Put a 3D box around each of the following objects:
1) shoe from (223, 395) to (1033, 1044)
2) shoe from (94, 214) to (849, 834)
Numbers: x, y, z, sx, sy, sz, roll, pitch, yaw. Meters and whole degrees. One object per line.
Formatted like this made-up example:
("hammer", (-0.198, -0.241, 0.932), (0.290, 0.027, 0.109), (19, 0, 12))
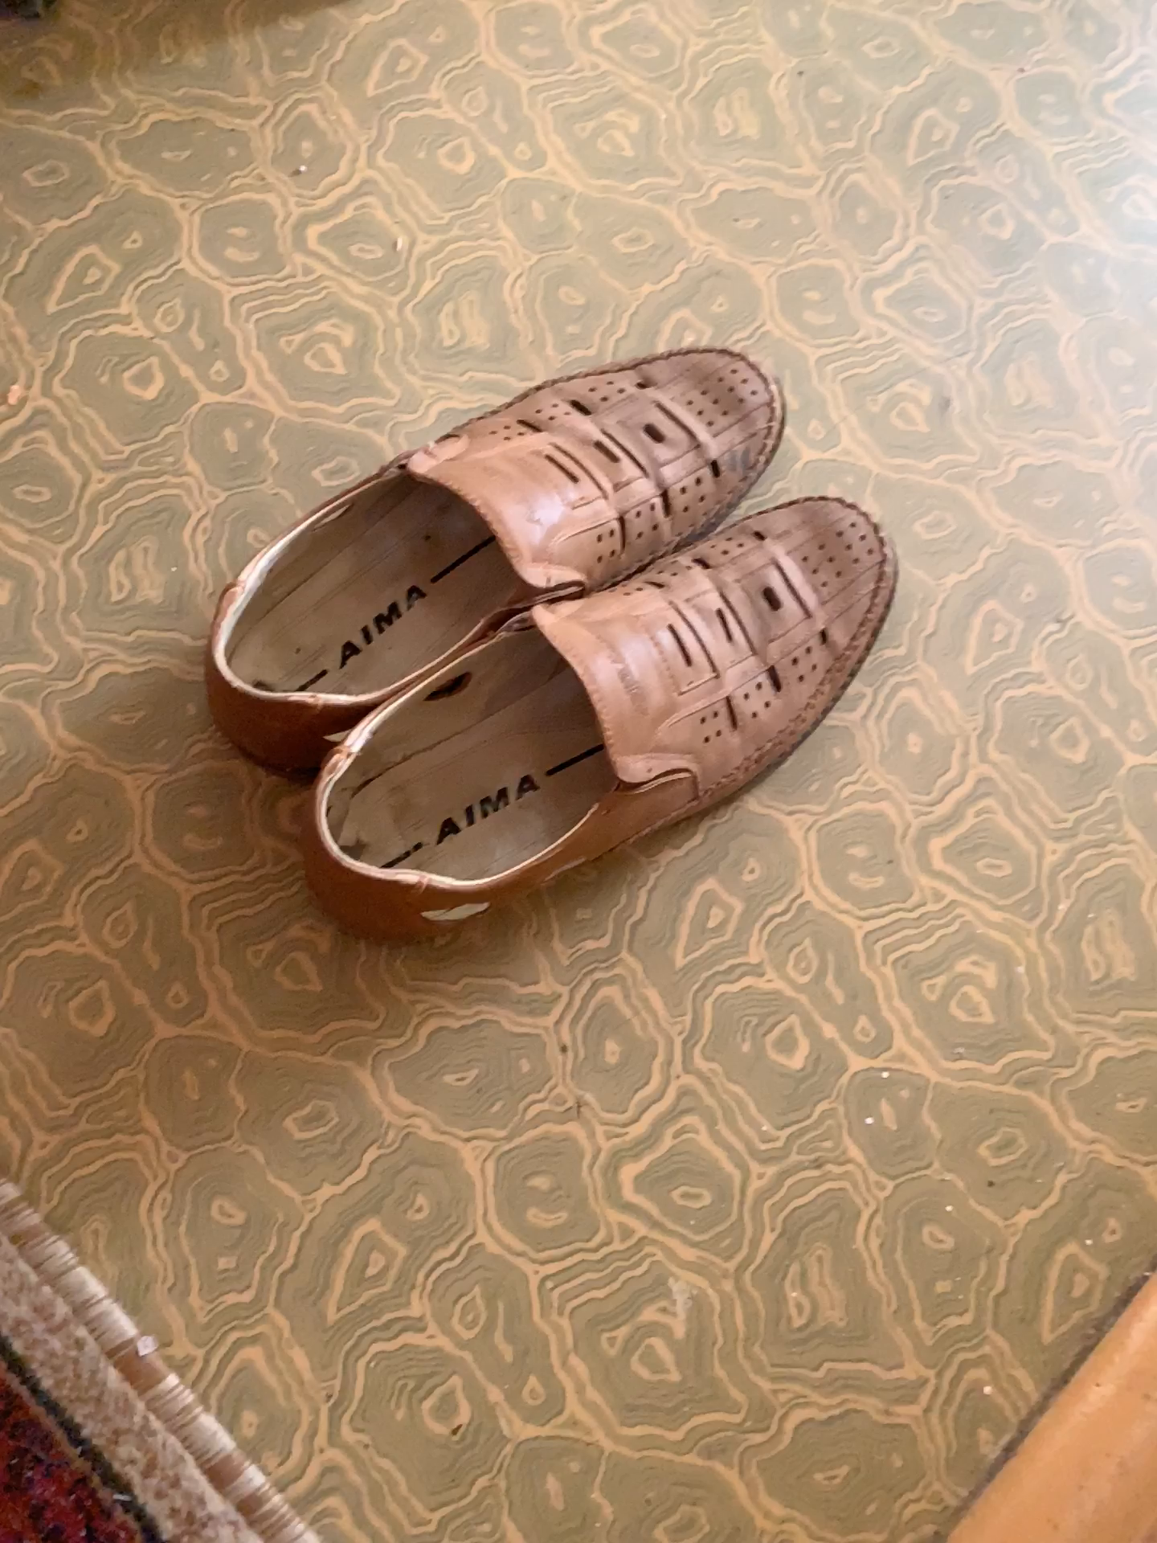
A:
("shoe", (0.022, -0.022, 0.477), (0.290, 0.080, 0.110), (-32, 81, -13))
("shoe", (-0.037, -0.105, 0.502), (0.290, 0.080, 0.100), (-36, 82, -13))
